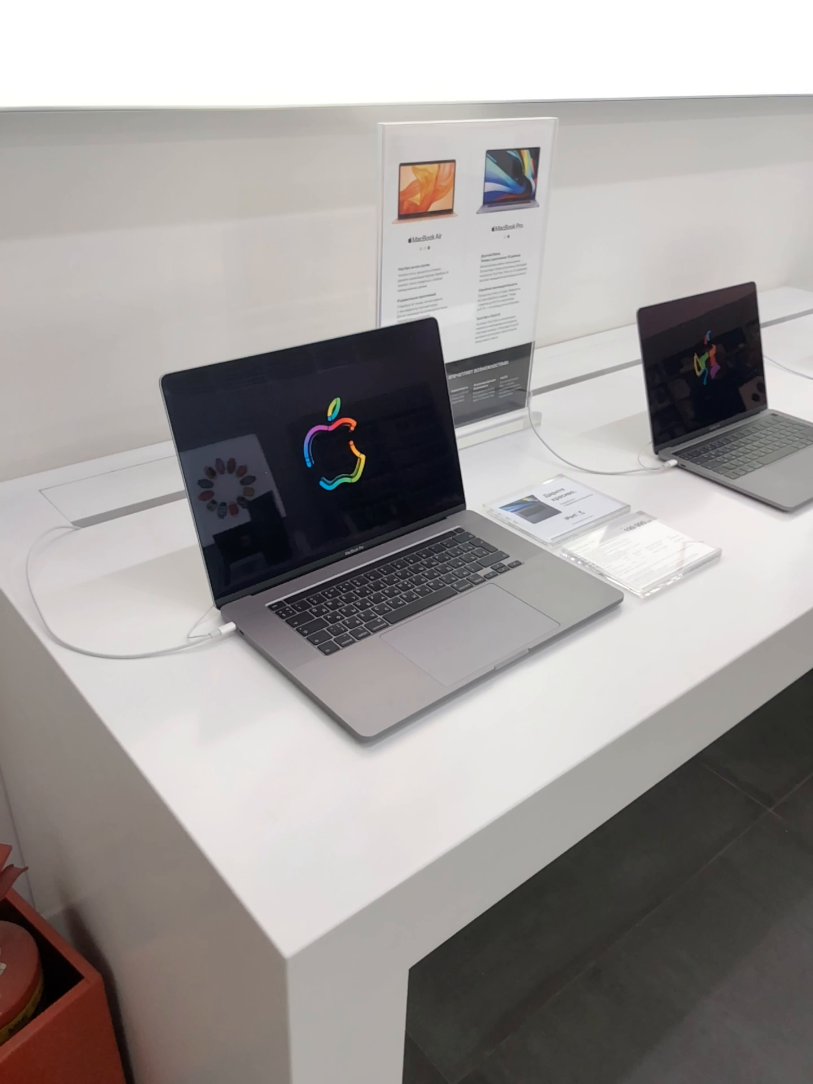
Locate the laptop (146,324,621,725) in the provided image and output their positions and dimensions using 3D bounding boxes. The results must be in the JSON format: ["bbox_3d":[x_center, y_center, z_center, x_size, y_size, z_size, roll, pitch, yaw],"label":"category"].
[{"bbox_3d":[-0.026,-0.050,0.895,0.328,0.209,0.310,-22,38,-36],"label":"laptop"}]
